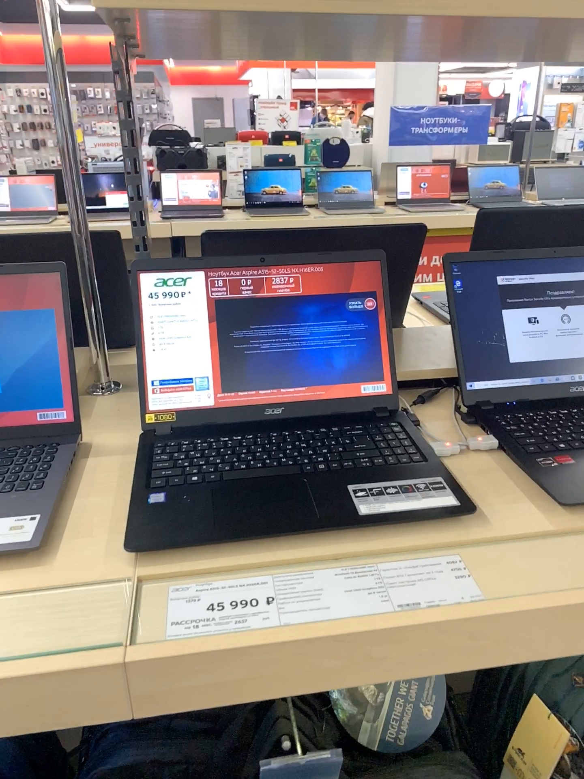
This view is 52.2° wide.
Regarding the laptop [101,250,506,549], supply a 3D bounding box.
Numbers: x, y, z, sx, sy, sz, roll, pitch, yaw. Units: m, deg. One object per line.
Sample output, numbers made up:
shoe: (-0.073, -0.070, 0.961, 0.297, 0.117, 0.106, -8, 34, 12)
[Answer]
laptop: (-0.010, -0.026, 0.738, 0.368, 0.208, 0.366, -4, 24, -8)
